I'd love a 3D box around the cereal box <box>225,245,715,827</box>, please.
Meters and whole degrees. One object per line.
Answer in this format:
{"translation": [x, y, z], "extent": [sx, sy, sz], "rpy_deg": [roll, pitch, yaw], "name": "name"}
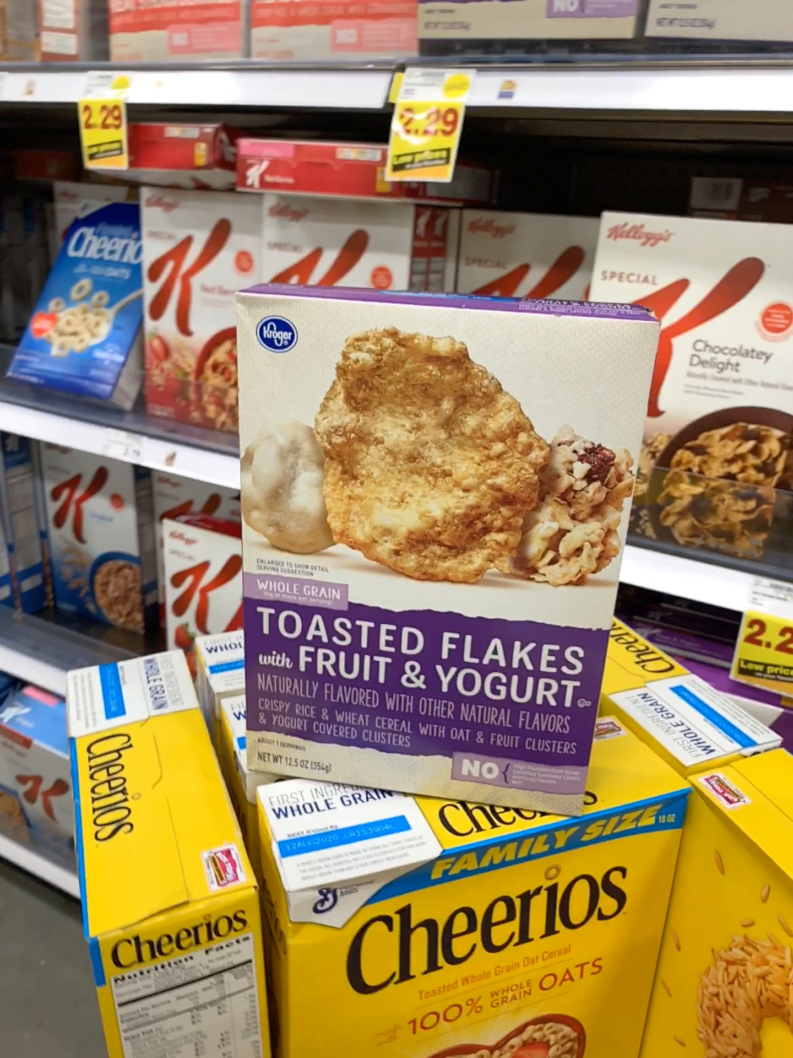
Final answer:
{"translation": [0.023, 0.008, 0.412], "extent": [0.200, 0.269, 0.060], "rpy_deg": [6, 22, 6], "name": "cereal box"}
